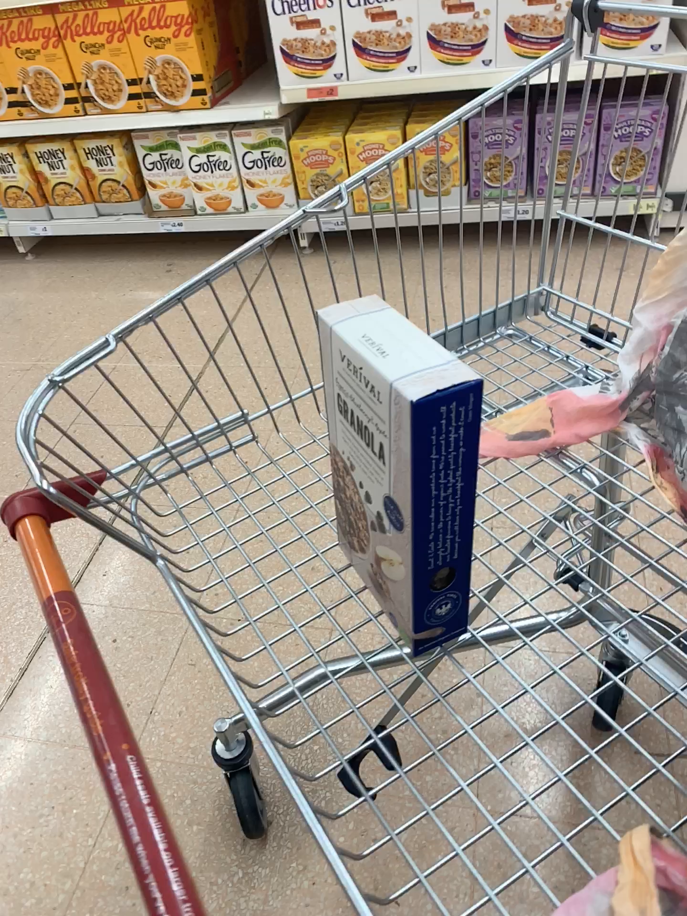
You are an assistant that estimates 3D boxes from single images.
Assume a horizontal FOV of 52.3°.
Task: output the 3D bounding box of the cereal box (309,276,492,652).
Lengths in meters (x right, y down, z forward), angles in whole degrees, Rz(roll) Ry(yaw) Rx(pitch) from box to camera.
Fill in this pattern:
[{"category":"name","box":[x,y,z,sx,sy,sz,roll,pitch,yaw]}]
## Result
[{"category":"cereal box","box":[0.036,0.008,0.504,0.050,0.228,0.141,-19,41,-18]}]
